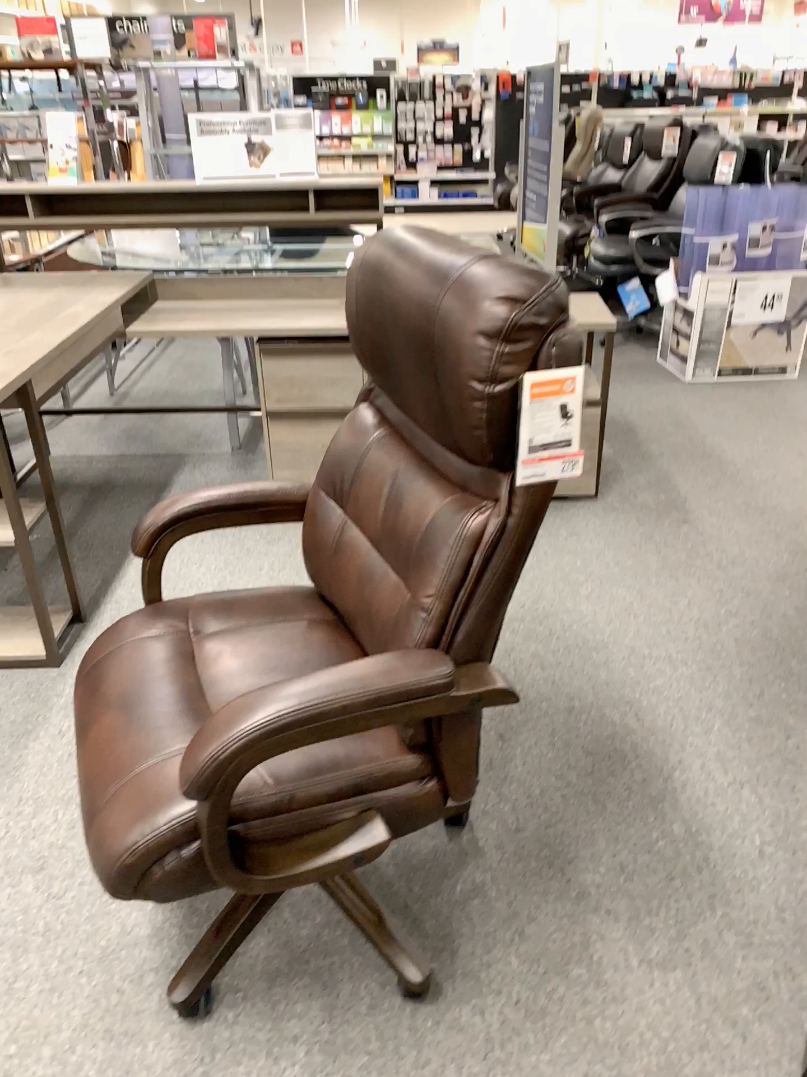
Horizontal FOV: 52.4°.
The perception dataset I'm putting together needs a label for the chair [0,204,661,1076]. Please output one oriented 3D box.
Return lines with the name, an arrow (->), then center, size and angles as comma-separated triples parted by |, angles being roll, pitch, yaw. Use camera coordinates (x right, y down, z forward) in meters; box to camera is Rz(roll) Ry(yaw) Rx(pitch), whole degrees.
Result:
chair -> -0.178, 0.116, 1.303 | 0.700, 1.094, 0.714 | -12, 30, -20
